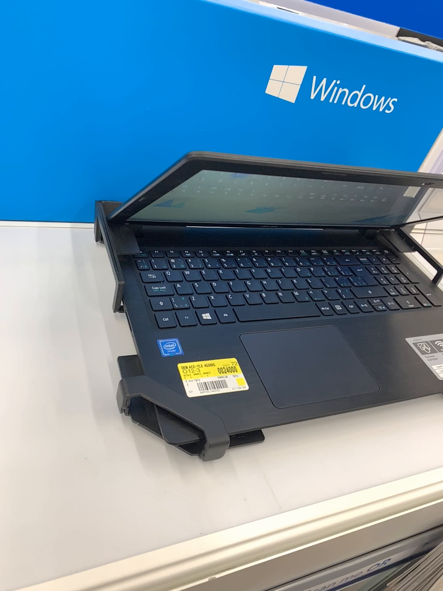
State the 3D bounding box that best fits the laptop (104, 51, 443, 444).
[{"bbox_3d":[0.104,-0.052,0.374,0.344,0.147,0.227,-3,43,-26],"label":"laptop"}]
